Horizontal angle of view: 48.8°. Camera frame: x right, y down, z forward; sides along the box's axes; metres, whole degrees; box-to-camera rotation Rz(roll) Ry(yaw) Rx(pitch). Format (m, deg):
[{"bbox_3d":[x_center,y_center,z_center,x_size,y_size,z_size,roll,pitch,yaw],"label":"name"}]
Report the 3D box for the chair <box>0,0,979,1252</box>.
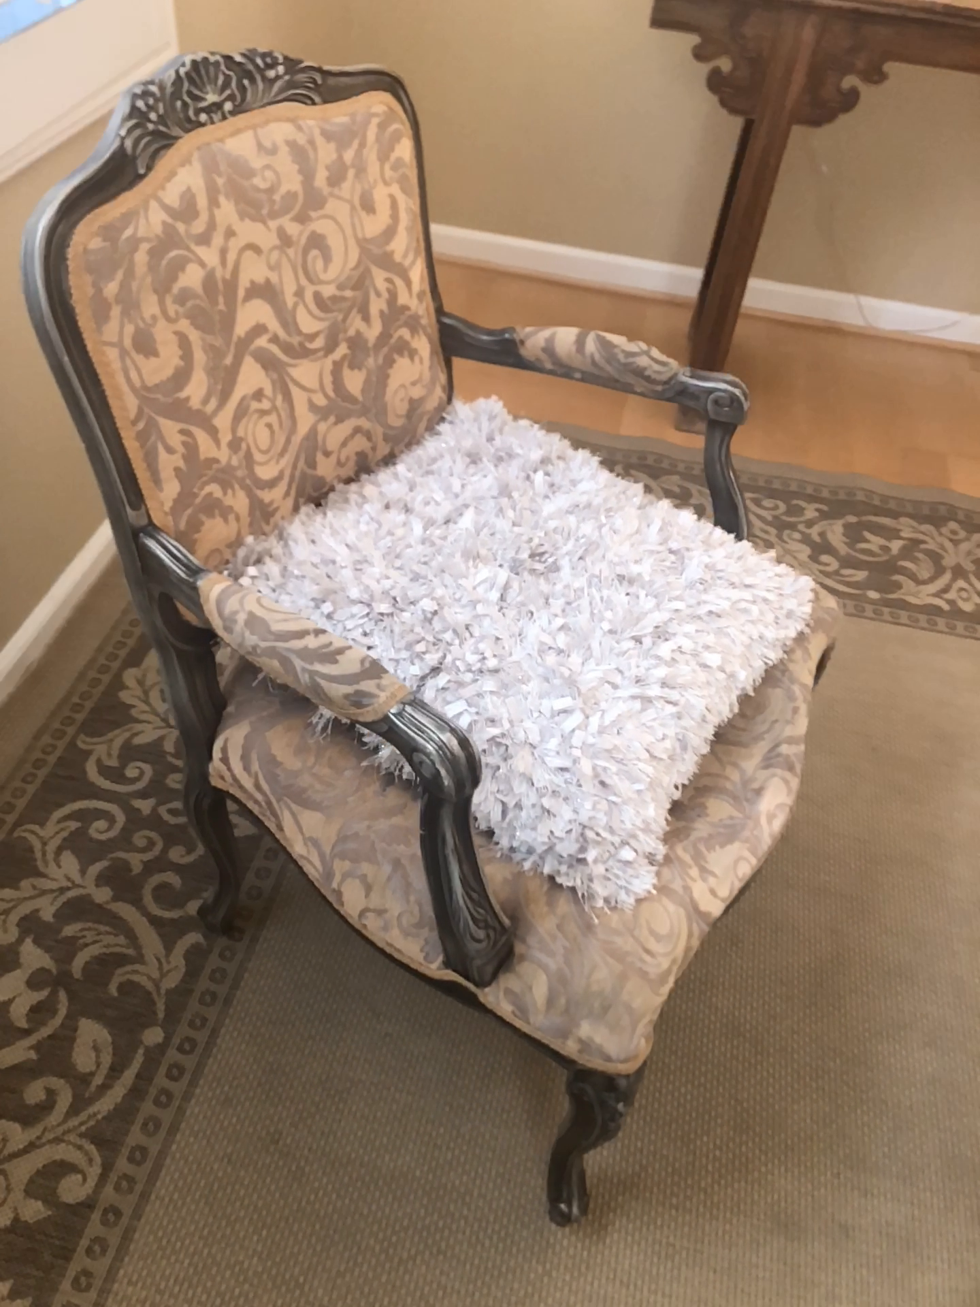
[{"bbox_3d":[0.026,-0.077,1.139,0.650,0.971,0.766,24,46,18],"label":"chair"}]
